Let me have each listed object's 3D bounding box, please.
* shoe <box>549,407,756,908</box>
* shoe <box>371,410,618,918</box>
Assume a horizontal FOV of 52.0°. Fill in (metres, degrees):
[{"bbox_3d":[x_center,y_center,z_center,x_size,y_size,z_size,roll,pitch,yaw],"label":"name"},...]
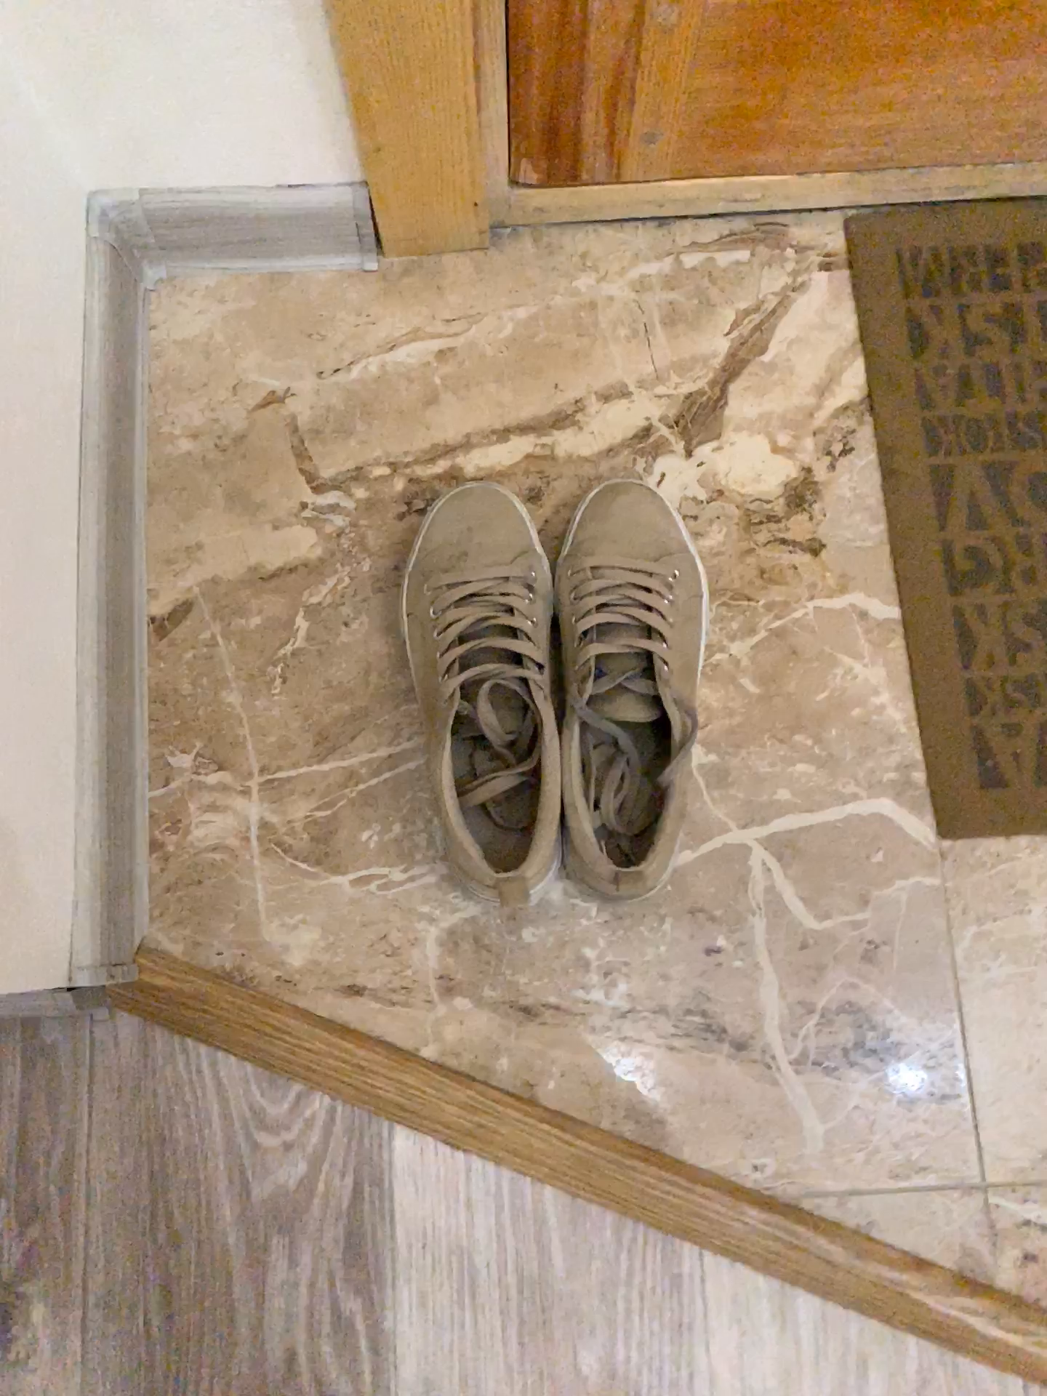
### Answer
[{"bbox_3d":[0.060,-0.016,0.555,0.090,0.100,0.240,1,78,0],"label":"shoe"},{"bbox_3d":[-0.017,-0.013,0.564,0.090,0.100,0.240,-7,78,-1],"label":"shoe"}]
